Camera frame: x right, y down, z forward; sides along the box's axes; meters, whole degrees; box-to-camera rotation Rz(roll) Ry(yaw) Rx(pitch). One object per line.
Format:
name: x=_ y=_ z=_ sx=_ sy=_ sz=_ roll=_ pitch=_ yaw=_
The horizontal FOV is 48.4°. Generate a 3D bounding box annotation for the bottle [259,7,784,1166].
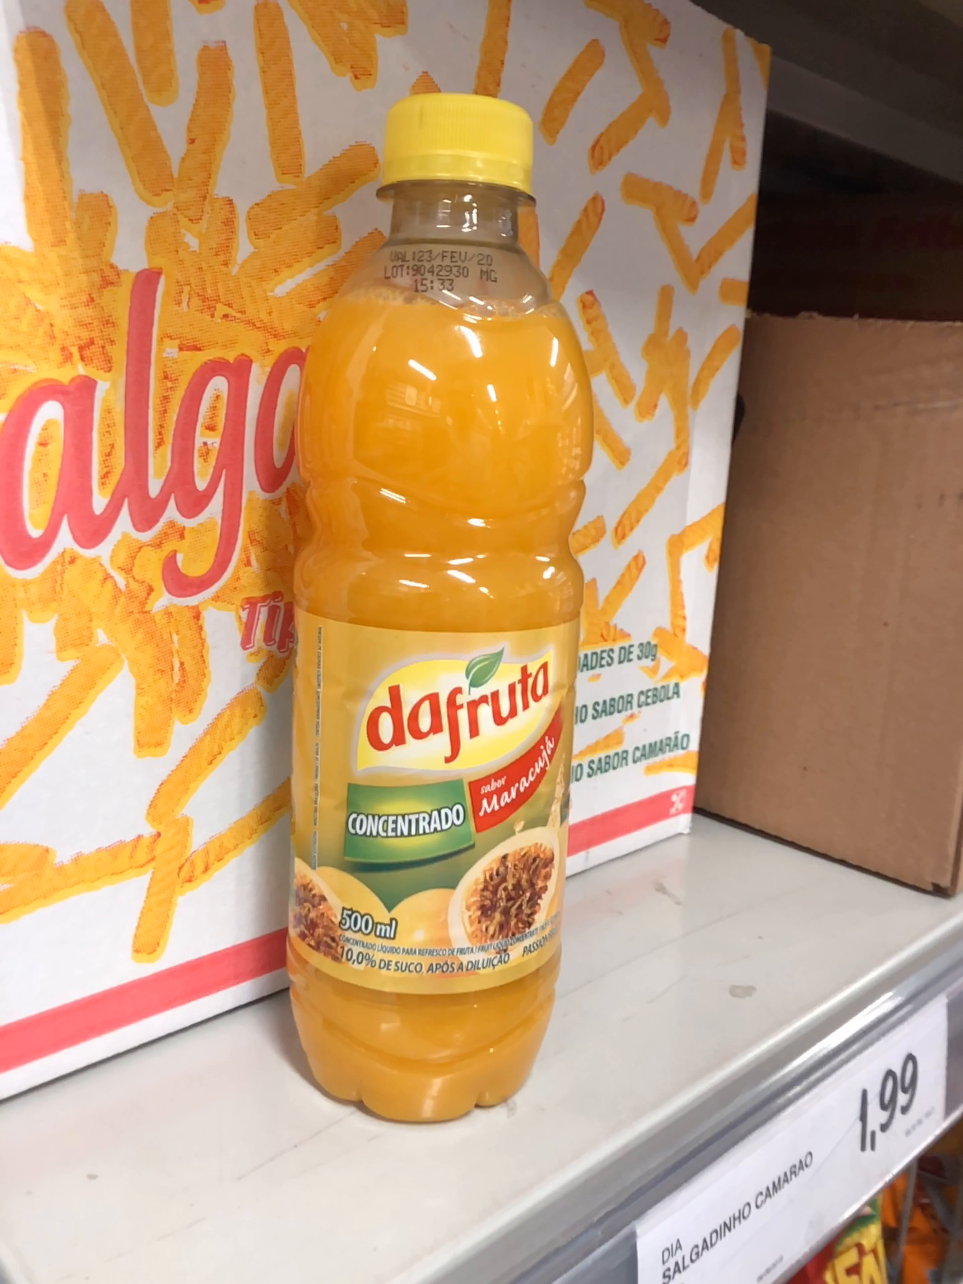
bottle: x=0.000 y=-0.006 z=0.222 sx=0.070 sy=0.199 sz=0.060 roll=-2 pitch=16 yaw=-28
